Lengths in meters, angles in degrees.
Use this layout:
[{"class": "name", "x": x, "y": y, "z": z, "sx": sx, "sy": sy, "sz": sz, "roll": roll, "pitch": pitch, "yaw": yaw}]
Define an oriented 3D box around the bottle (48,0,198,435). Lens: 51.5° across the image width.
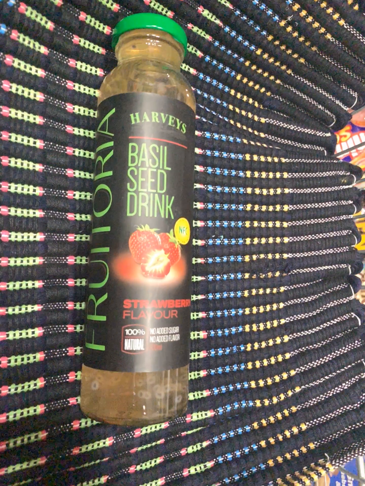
[{"class": "bottle", "x": -0.025, "y": -0.026, "z": 0.200, "sx": 0.060, "sy": 0.060, "sz": 0.220, "roll": 1, "pitch": 81, "yaw": -3}]
